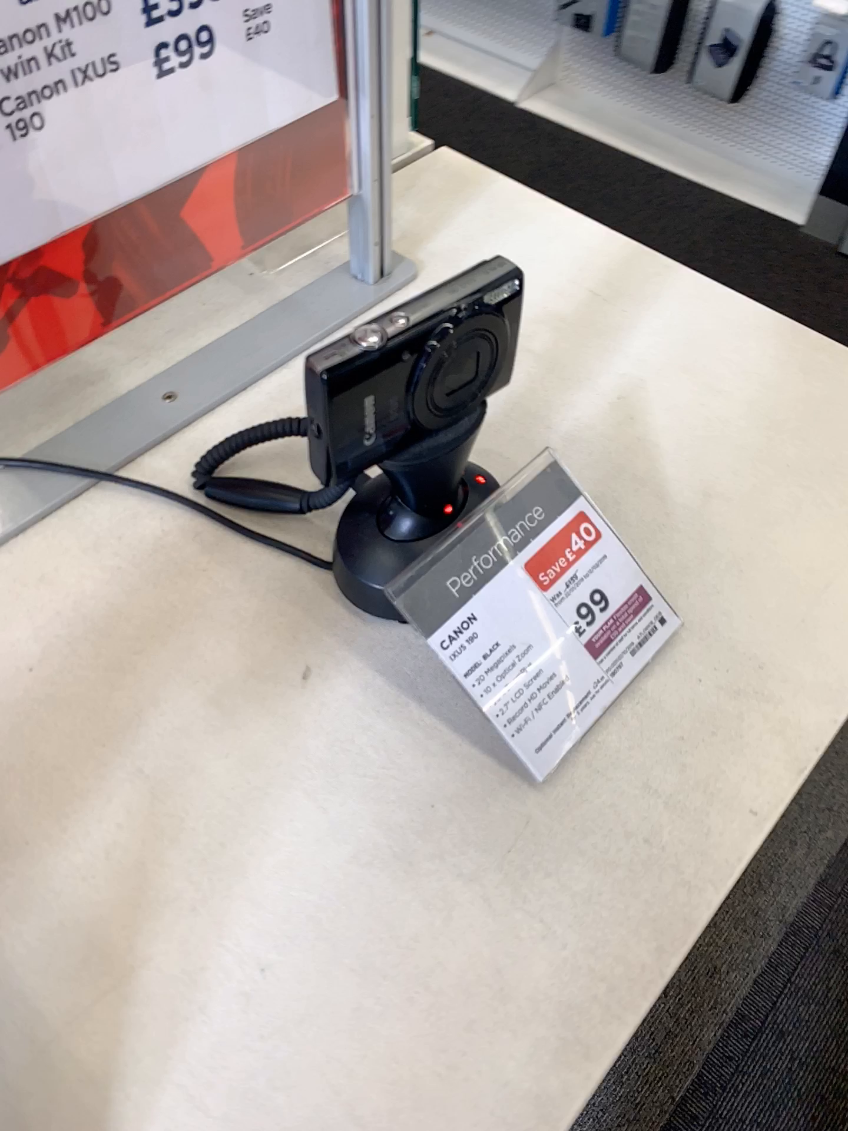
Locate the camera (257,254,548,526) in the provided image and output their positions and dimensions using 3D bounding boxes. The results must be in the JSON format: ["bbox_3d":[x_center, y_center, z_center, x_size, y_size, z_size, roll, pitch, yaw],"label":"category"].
[{"bbox_3d":[-0.005,-0.063,0.306,0.100,0.050,0.030,-34,61,-24],"label":"camera"}]
